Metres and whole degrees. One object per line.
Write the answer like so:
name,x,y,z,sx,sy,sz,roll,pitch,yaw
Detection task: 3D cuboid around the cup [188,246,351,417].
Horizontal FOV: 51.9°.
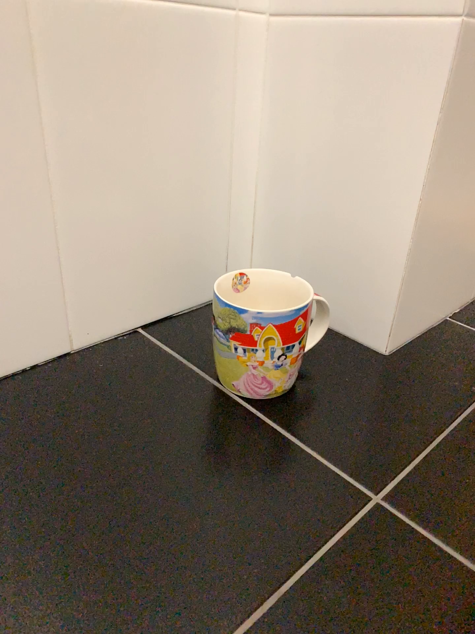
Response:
cup,0.029,0.006,0.458,0.086,0.099,0.125,26,36,35
